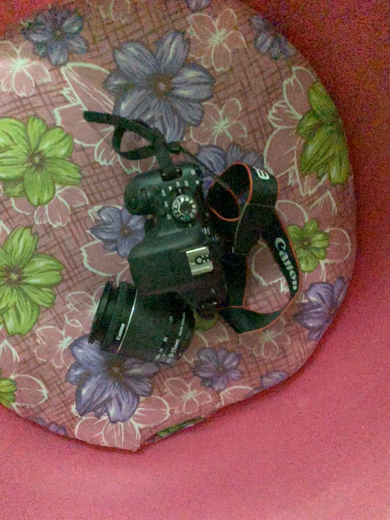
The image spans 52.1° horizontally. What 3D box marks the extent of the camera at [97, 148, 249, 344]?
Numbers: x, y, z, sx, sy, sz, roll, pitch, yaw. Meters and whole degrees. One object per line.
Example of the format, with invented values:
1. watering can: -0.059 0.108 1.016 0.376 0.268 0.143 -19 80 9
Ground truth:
1. camera: -0.016 -0.015 0.364 0.086 0.079 0.143 -17 100 2
